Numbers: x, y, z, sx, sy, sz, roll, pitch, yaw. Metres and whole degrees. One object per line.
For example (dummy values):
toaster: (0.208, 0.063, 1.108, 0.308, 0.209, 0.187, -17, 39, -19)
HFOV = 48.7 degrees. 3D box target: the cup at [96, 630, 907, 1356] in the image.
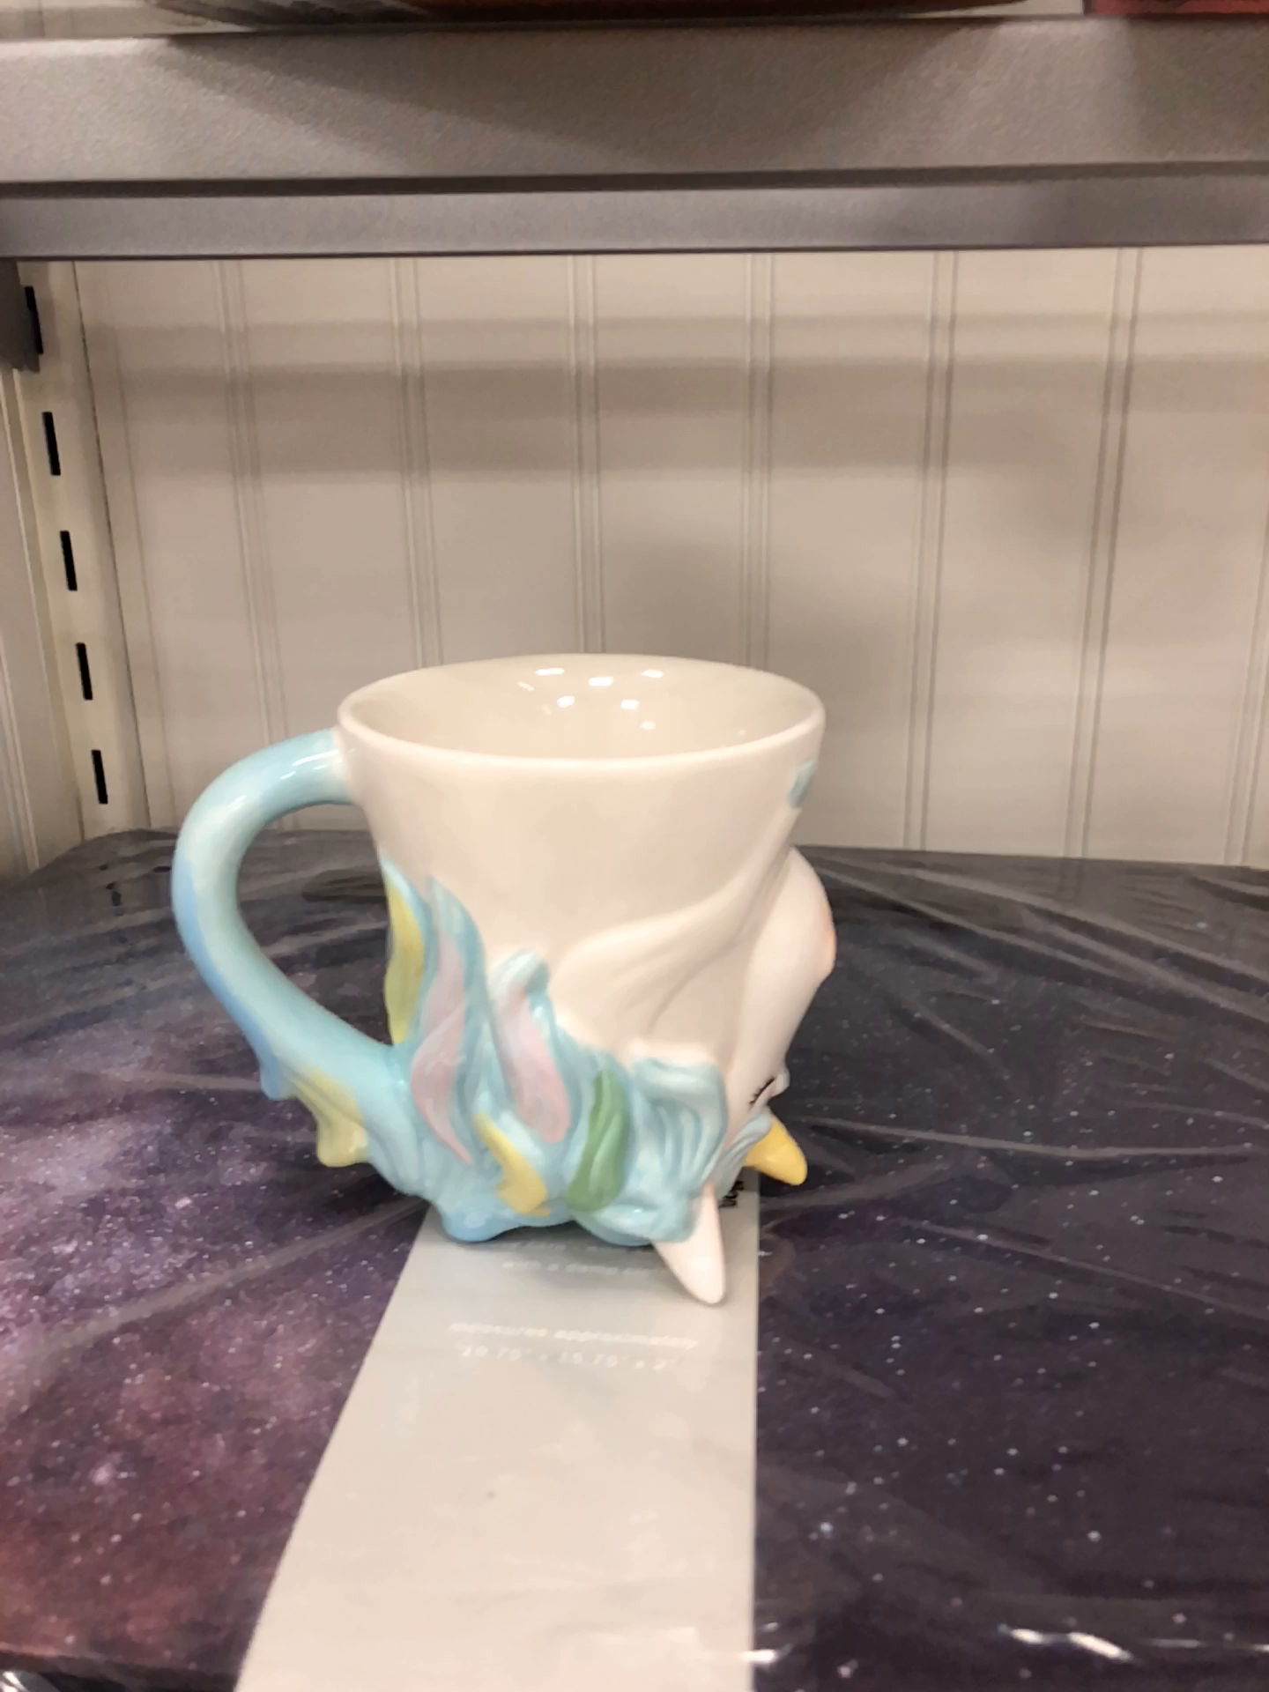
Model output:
cup: (-0.025, 0.024, 0.309, 0.140, 0.118, 0.101, -3, 20, -5)
